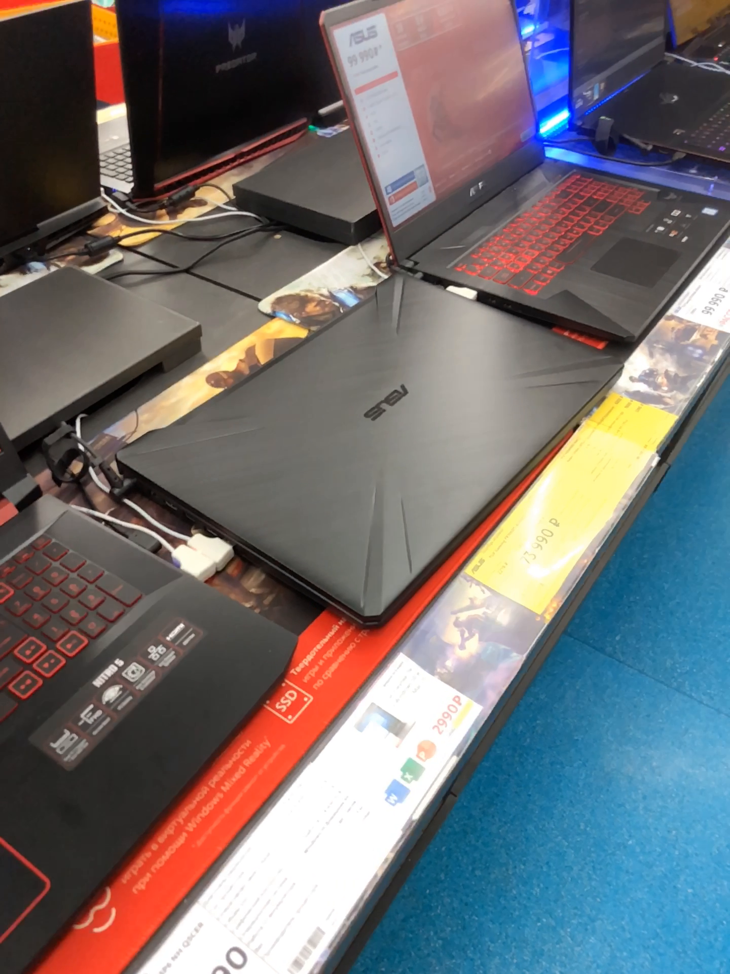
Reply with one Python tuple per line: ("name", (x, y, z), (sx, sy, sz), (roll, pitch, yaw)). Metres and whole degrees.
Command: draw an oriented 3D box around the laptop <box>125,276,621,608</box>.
("laptop", (0.023, -0.076, 0.718), (0.261, 0.001, 0.387), (28, 50, 27))
